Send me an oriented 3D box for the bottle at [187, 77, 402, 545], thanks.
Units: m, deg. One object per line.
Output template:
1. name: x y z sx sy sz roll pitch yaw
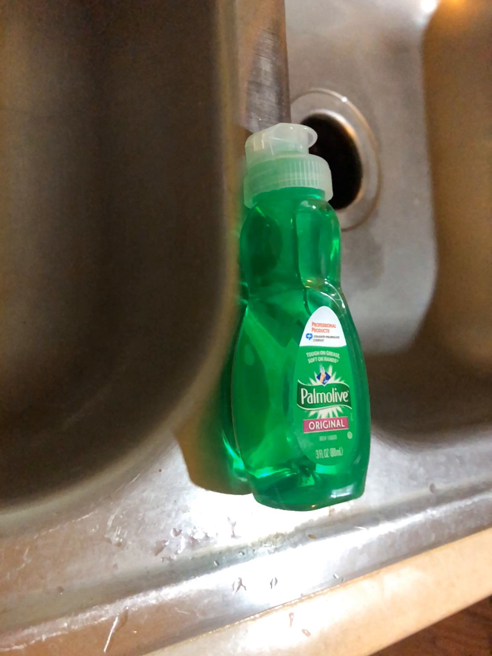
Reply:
1. bottle: 0.015 -0.006 0.179 0.050 0.030 0.130 -1 83 -35
